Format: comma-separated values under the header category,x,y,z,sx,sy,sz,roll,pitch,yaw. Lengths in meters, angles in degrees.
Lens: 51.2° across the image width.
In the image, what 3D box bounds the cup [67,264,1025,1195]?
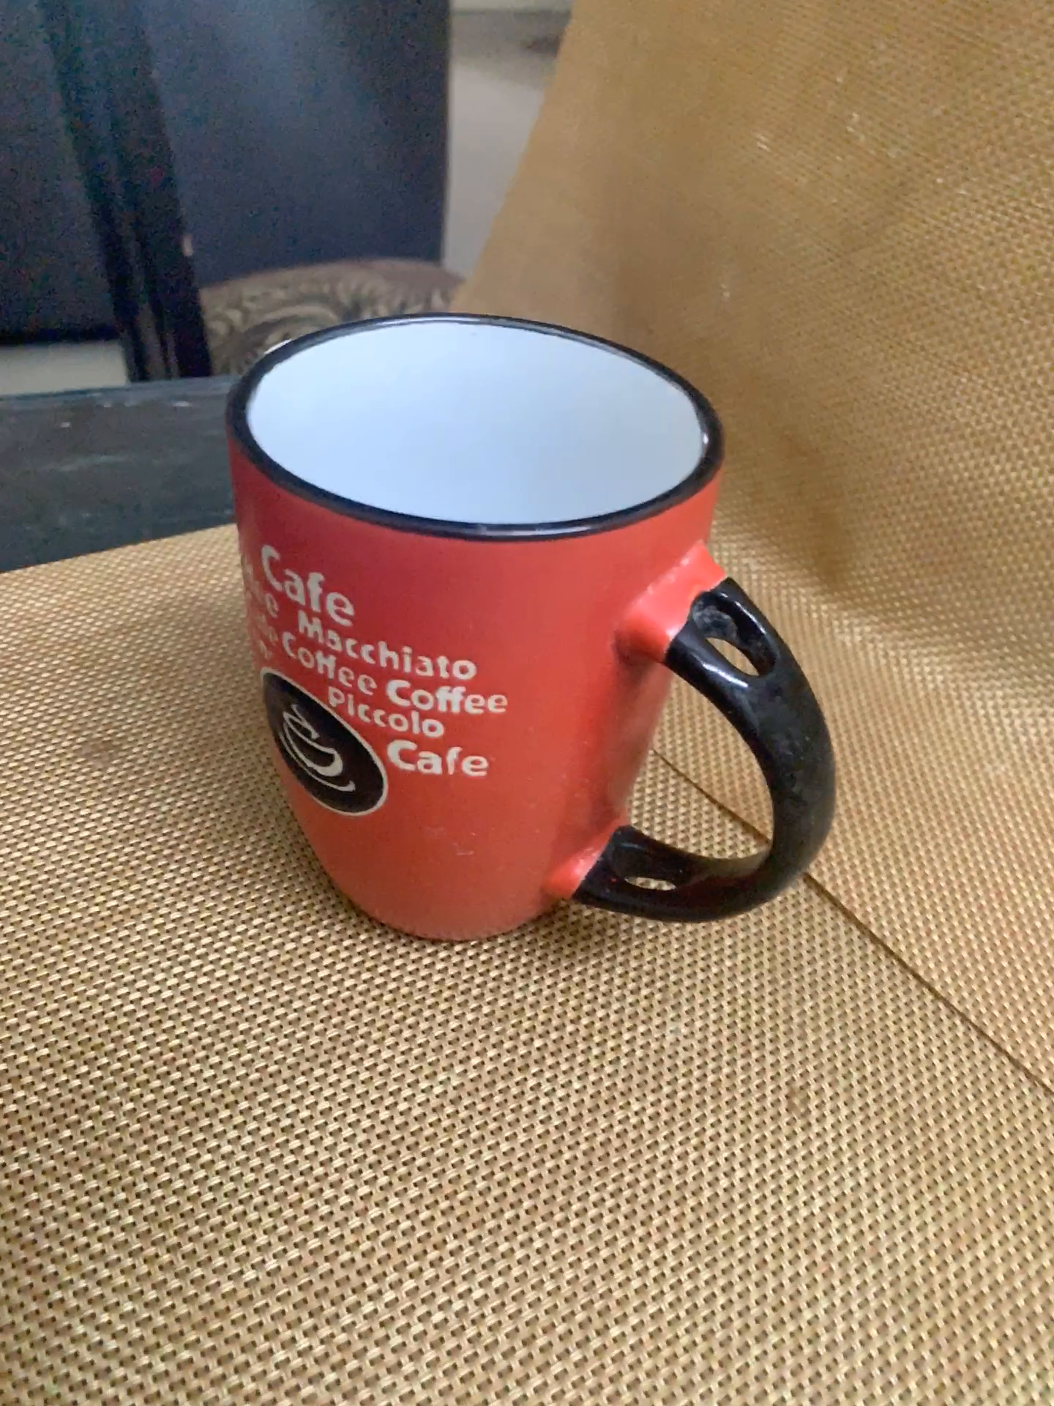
category,x,y,z,sx,sy,sz,roll,pitch,yaw
cup,0.003,-0.004,0.202,0.120,0.099,0.091,25,43,22
